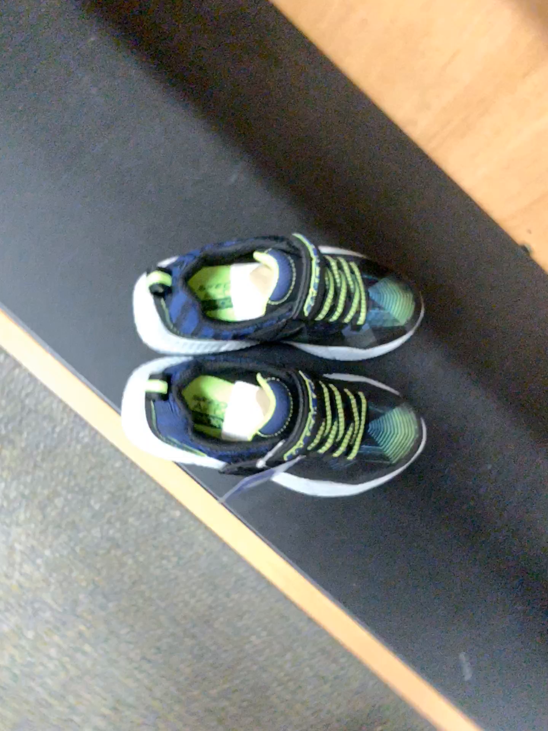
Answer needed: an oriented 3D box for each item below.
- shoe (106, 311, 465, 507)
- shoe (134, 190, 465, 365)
[{"bbox_3d":[0.005,0.038,0.394,0.220,0.100,0.098,7,78,-14],"label":"shoe"},{"bbox_3d":[0.011,-0.055,0.423,0.220,0.100,0.092,0,80,-15],"label":"shoe"}]
